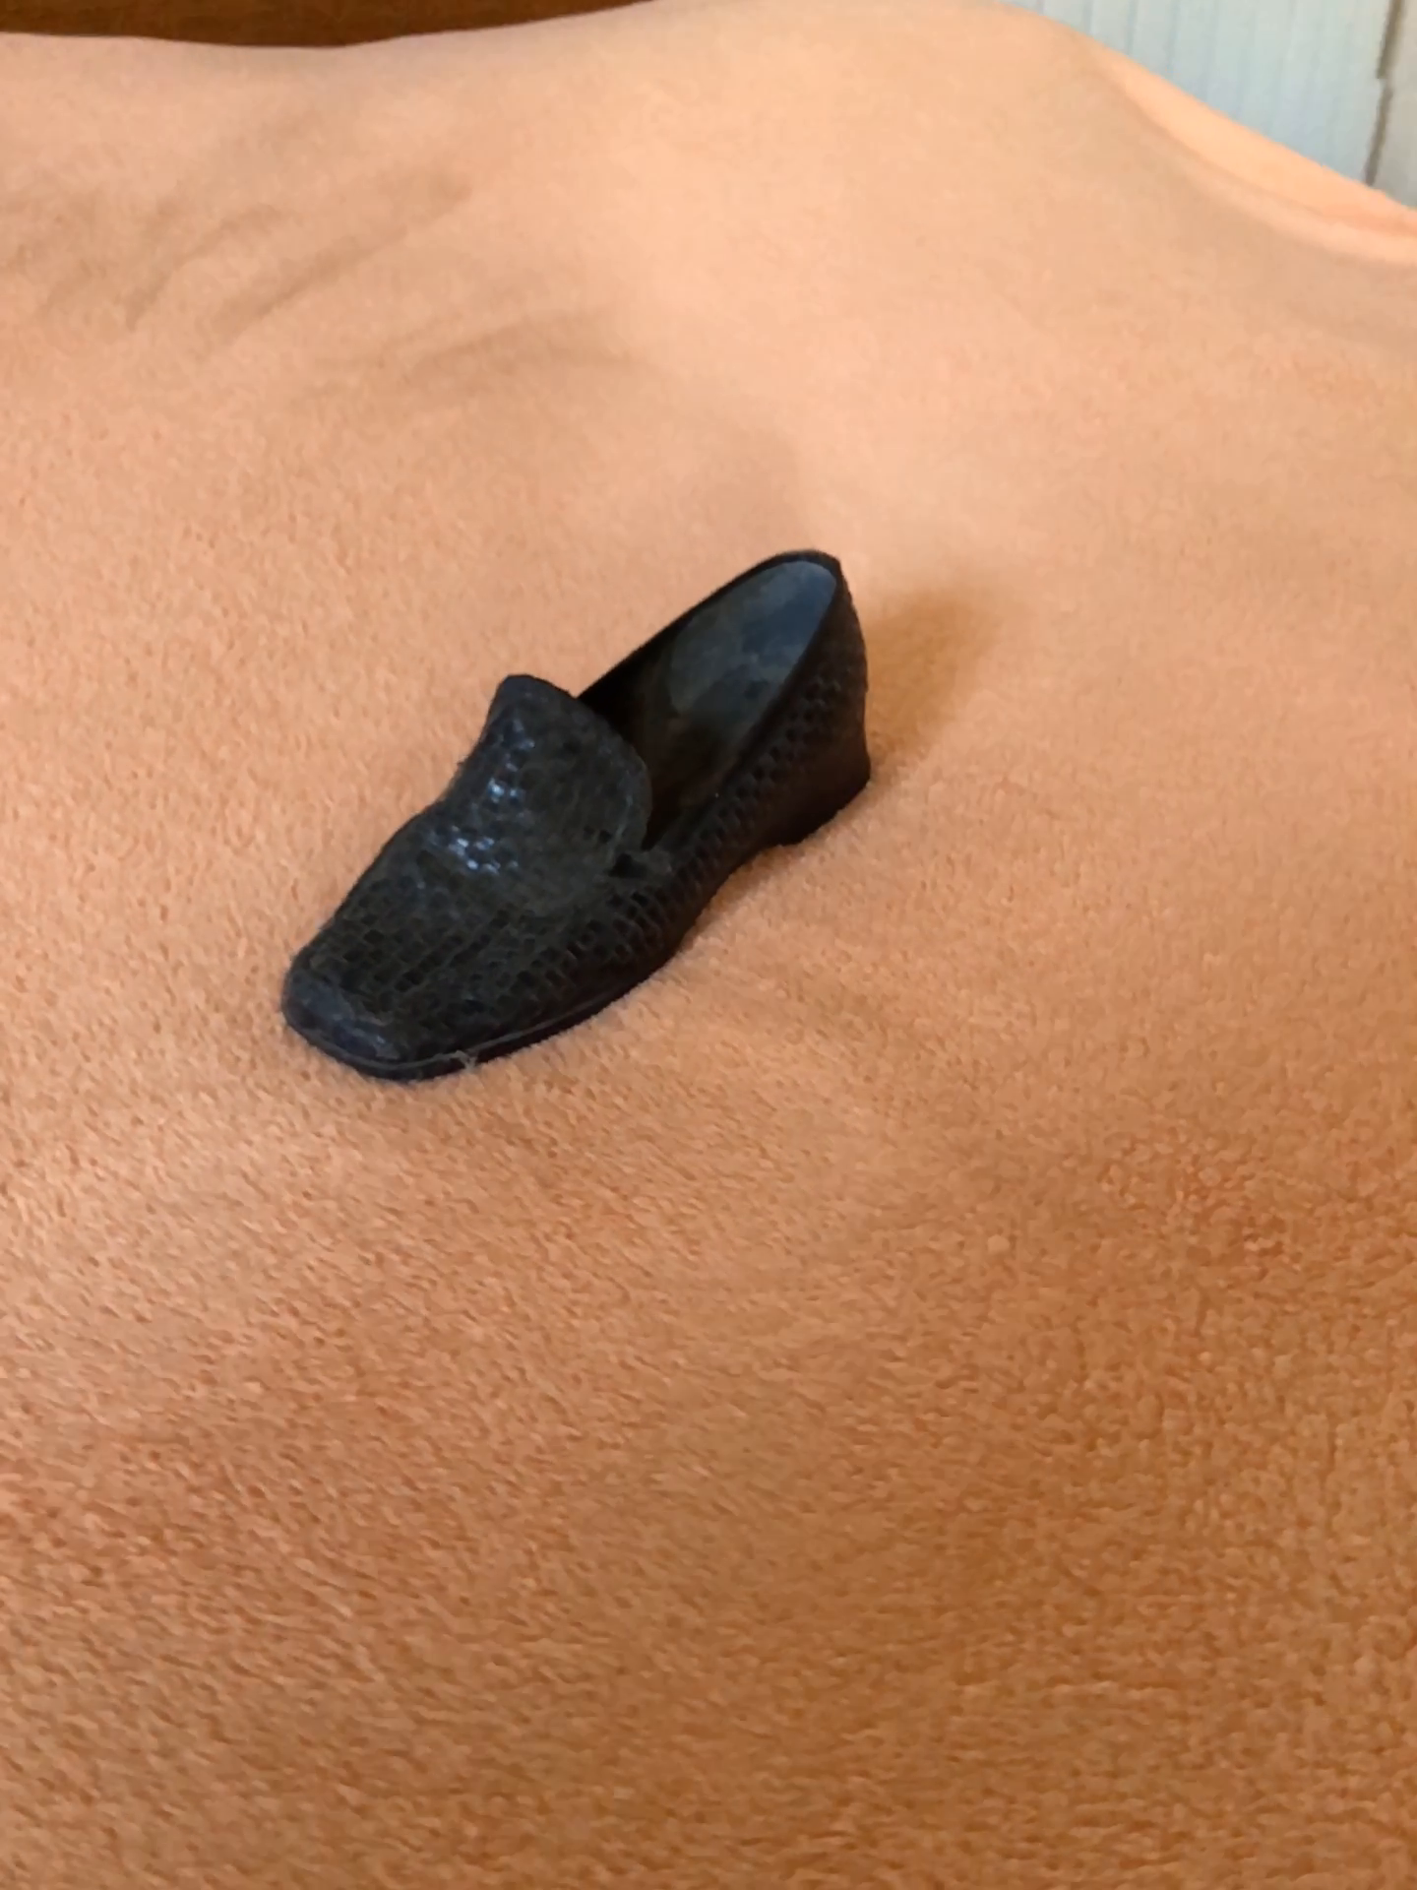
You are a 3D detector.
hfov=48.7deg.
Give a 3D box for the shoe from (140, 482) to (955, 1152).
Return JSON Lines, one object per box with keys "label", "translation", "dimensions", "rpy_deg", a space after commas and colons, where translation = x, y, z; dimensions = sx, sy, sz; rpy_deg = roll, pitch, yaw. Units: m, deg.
{"label": "shoe", "translation": [-0.037, -0.060, 0.531], "dimensions": [0.100, 0.089, 0.272], "rpy_deg": [28, 46, 30]}
